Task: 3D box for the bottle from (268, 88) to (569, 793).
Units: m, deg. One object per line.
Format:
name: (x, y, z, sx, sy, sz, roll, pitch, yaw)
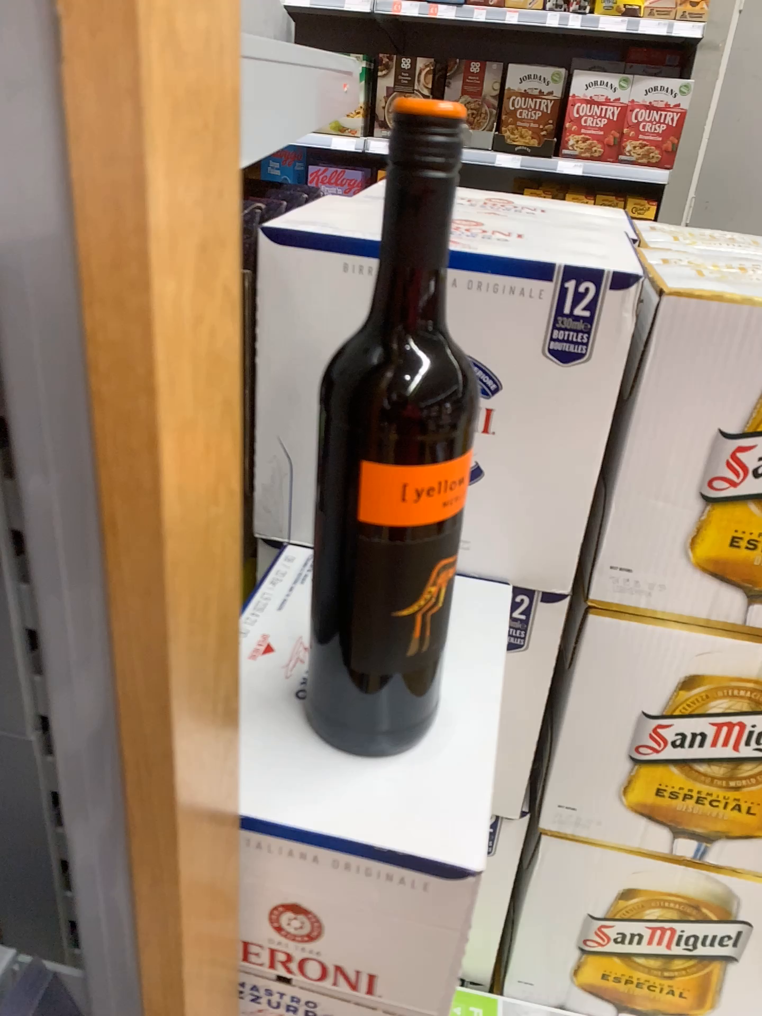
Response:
bottle: (0.007, -0.020, 0.356, 0.076, 0.297, 0.078, 5, 27, -2)
